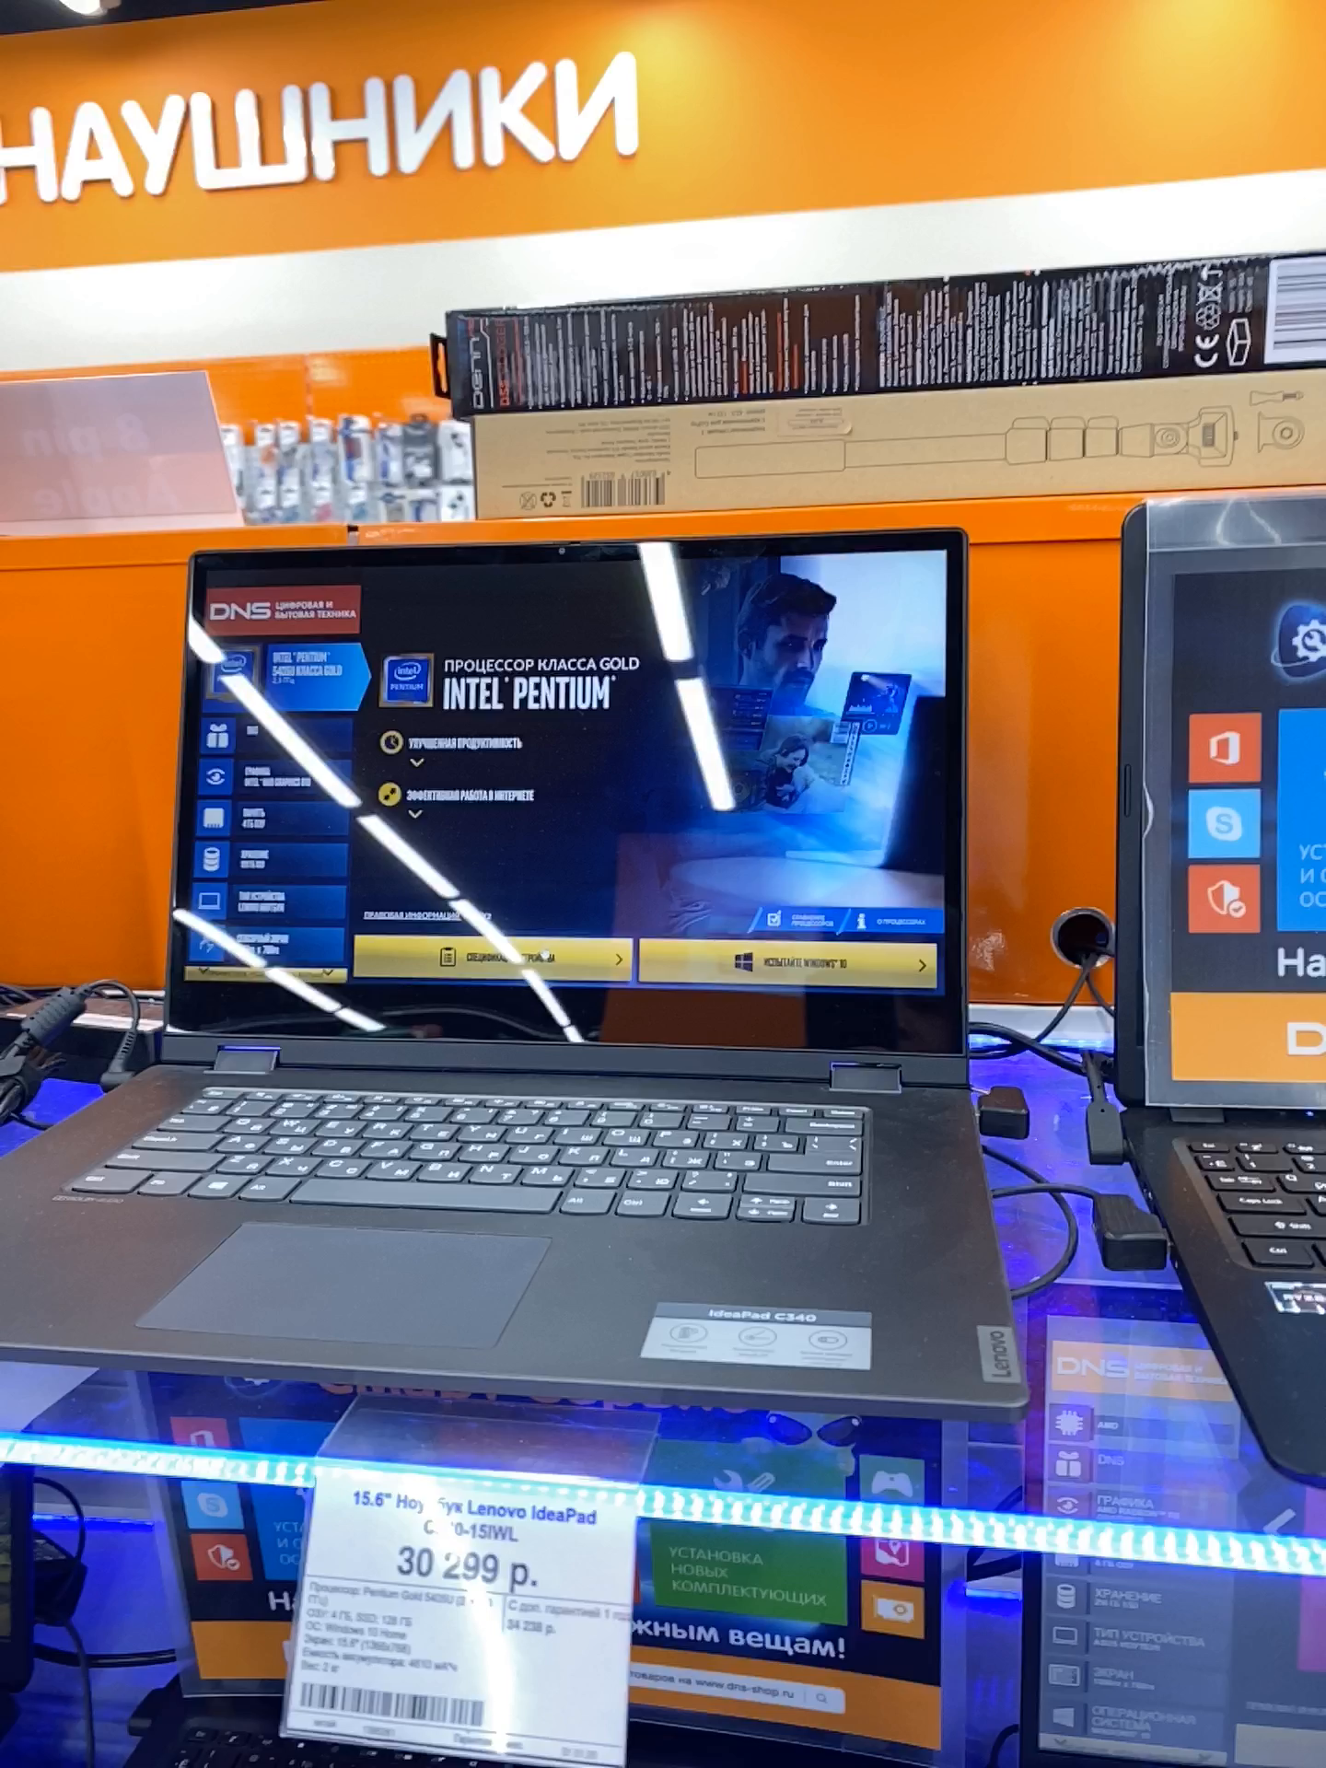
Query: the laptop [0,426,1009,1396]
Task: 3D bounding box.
[{"bbox_3d":[-0.077,-0.016,0.497,0.362,0.232,0.318,0,10,8],"label":"laptop"}]
